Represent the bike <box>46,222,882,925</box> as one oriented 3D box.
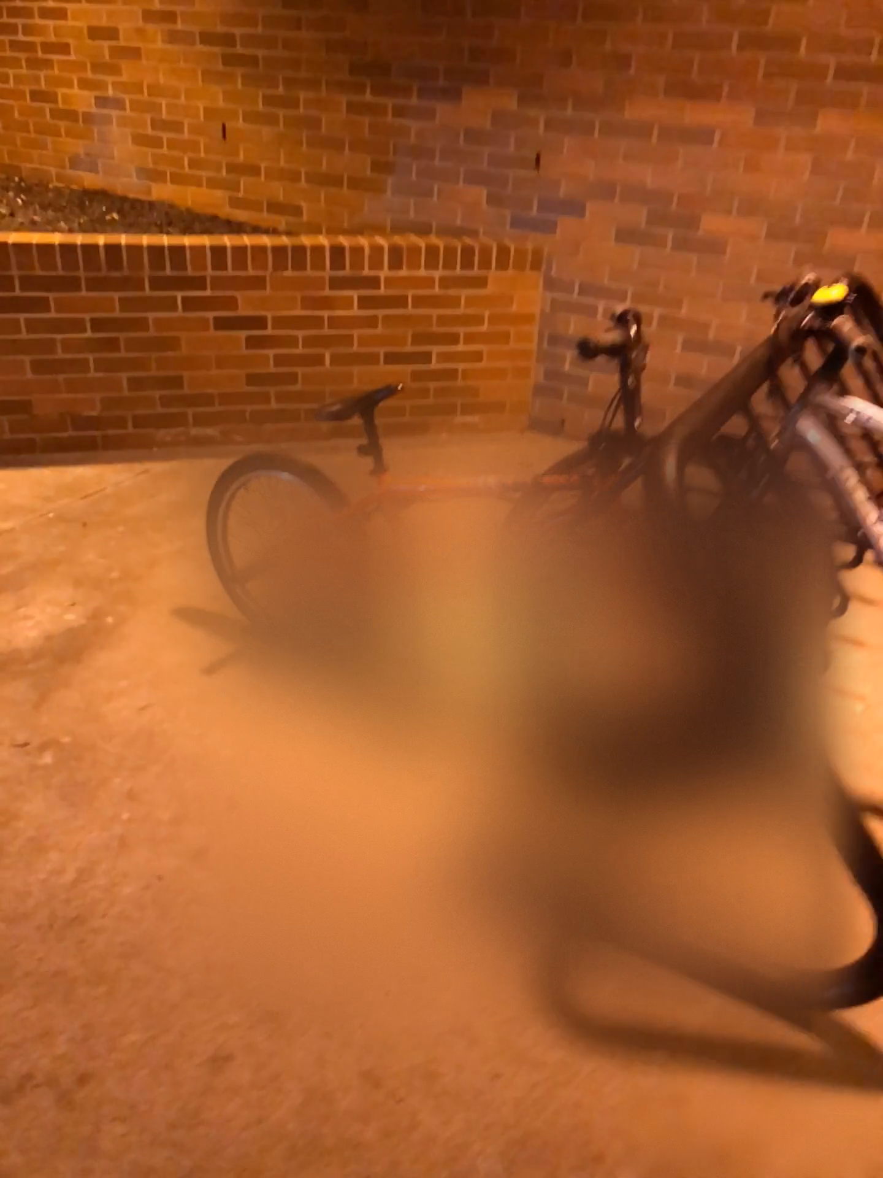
[{"bbox_3d":[0.023,-0.159,1.923,1.292,0.927,0.747,16,30,25],"label":"bike"}]
